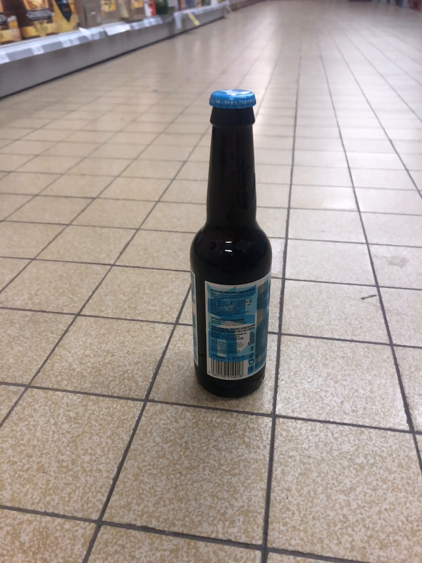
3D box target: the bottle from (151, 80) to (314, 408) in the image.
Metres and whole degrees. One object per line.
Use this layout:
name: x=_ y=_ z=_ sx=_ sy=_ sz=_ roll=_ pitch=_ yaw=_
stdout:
bottle: x=0.013 y=-0.022 z=0.330 sx=0.070 sy=0.209 sz=0.070 roll=-1 pitch=31 yaw=1
